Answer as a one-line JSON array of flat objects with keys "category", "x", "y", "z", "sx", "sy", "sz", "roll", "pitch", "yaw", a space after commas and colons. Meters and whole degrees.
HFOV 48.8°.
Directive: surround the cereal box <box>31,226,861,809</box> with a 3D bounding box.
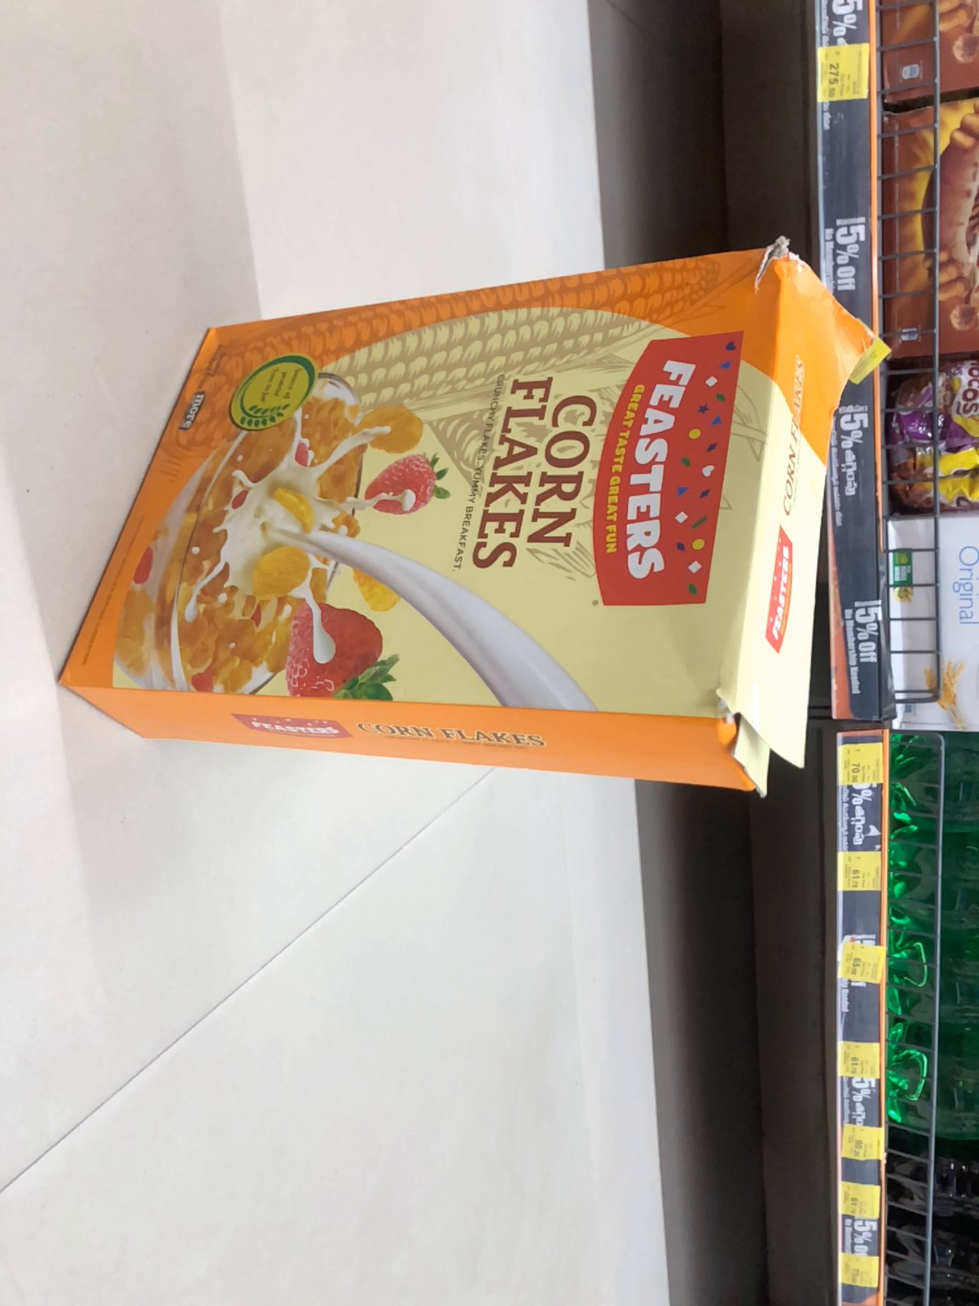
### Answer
[{"category": "cereal box", "x": -0.010, "y": -0.051, "z": 0.402, "sx": 0.060, "sy": 0.268, "sz": 0.190, "roll": 57, "pitch": 40, "yaw": -54}]
